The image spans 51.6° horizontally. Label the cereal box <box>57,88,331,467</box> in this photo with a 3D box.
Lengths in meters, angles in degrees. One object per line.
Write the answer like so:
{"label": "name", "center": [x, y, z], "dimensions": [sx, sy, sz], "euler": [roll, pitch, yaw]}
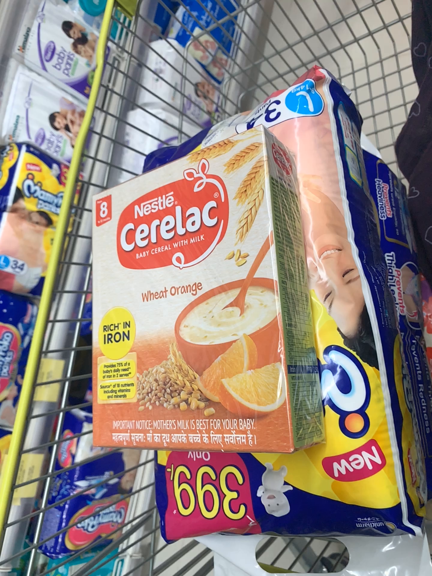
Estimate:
{"label": "cereal box", "center": [-0.028, 0.004, 0.286], "dimensions": [0.171, 0.050, 0.190], "euler": [-12, 75, 35]}
